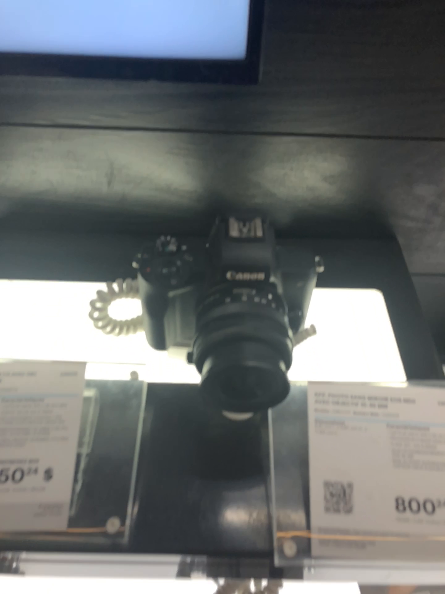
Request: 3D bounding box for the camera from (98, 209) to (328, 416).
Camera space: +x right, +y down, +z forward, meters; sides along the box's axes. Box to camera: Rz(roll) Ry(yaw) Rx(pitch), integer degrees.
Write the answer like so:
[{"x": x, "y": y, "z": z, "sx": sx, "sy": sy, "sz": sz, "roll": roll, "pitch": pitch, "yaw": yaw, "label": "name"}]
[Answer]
[{"x": -0.007, "y": 0.009, "z": 0.318, "sx": 0.119, "sy": 0.089, "sz": 0.101, "roll": 0, "pitch": 43, "yaw": -2, "label": "camera"}]
